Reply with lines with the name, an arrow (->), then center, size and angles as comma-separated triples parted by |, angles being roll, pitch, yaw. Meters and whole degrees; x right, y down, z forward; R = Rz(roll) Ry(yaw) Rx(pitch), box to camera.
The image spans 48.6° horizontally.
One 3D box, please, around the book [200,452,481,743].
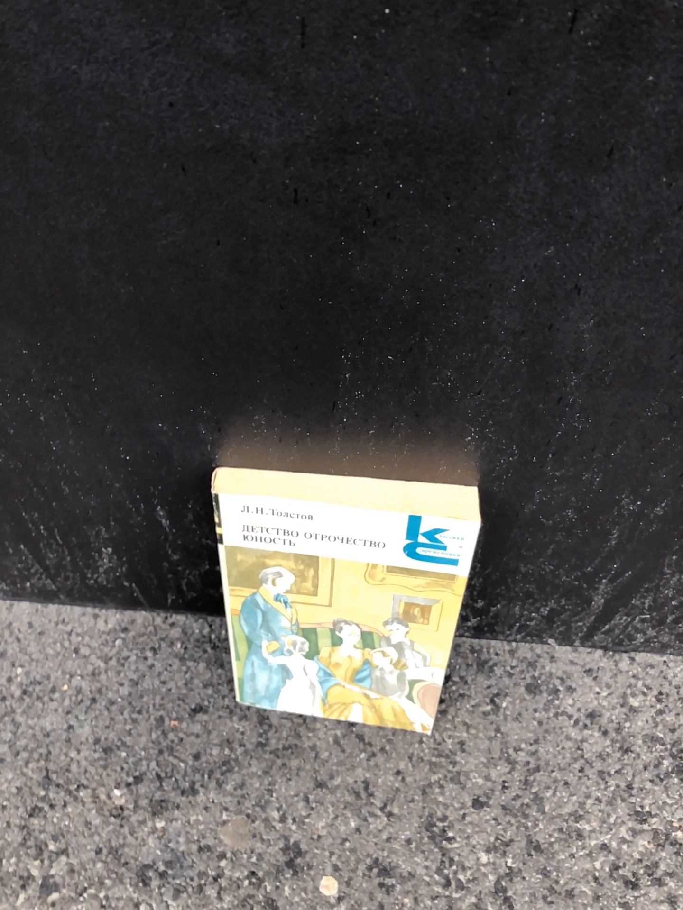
book -> -0.003, 0.083, 0.394 | 0.120, 0.185, 0.030 | 7, 43, 4
